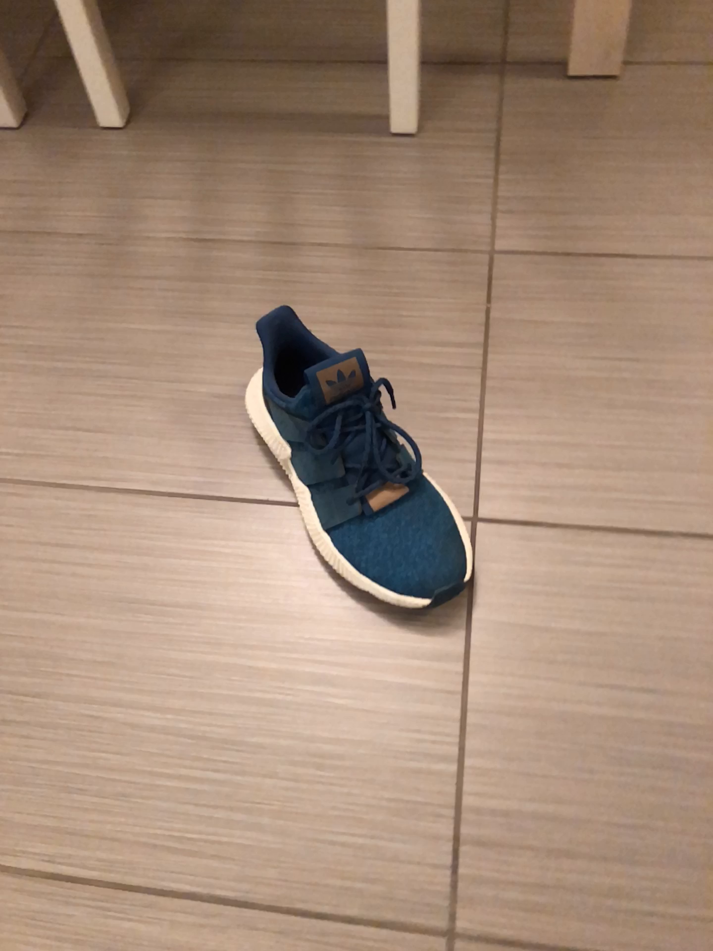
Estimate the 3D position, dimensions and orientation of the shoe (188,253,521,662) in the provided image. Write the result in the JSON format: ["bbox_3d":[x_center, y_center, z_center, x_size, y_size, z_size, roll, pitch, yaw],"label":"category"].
[{"bbox_3d":[-0.008,-0.021,0.621,0.111,0.120,0.291,-29,62,-10],"label":"shoe"}]
